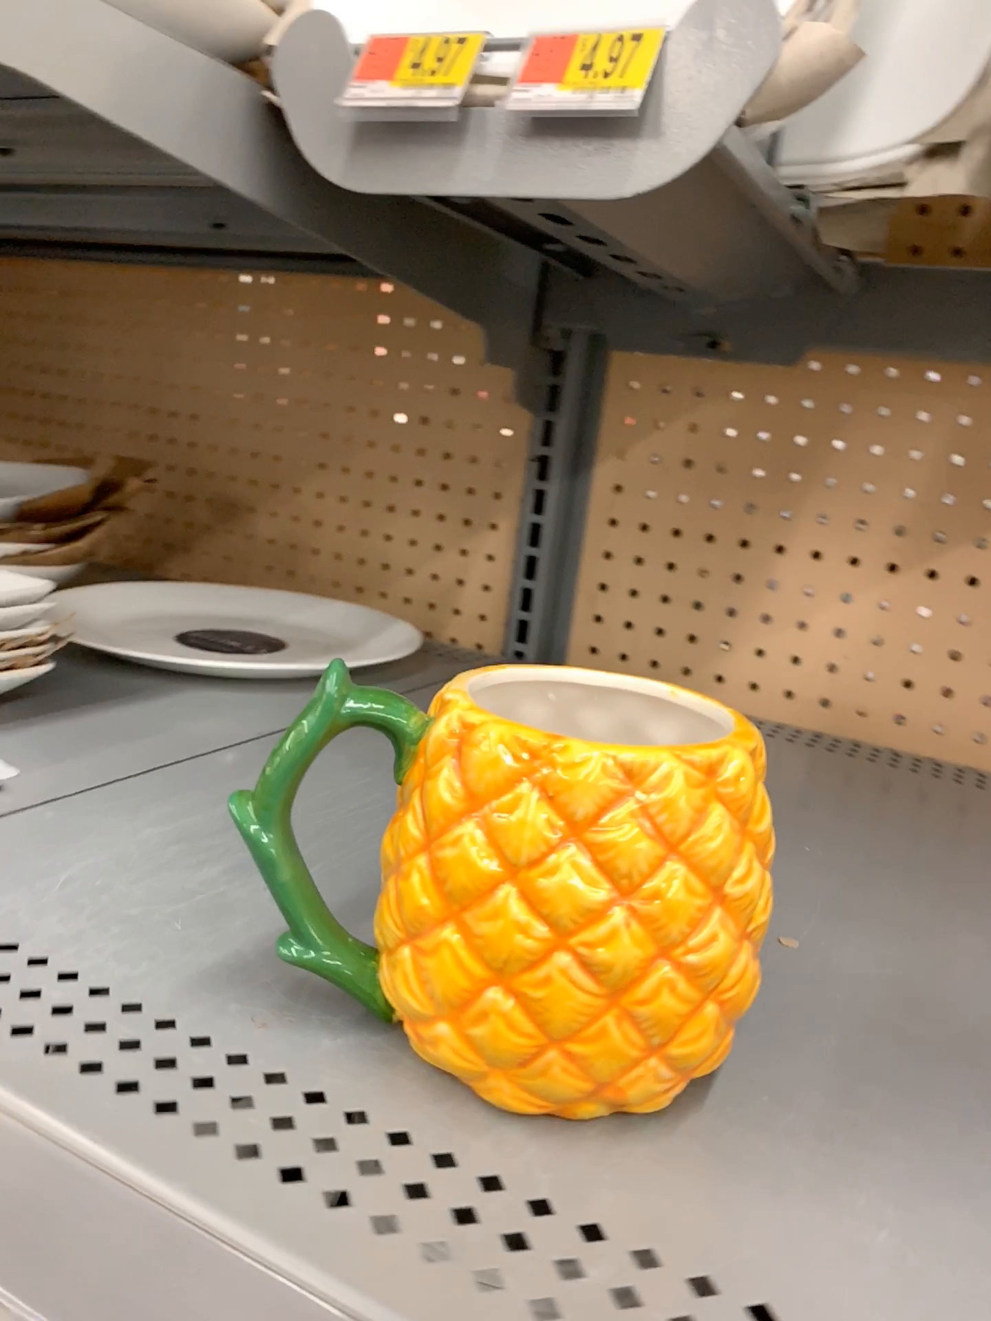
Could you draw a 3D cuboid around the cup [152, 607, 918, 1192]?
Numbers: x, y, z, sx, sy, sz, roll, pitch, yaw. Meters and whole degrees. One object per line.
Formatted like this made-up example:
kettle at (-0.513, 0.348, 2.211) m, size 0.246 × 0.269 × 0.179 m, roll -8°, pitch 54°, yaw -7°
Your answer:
cup at (0.007, 0.053, 0.279) m, size 0.160 × 0.100 × 0.100 m, roll 8°, pitch 12°, yaw 2°
